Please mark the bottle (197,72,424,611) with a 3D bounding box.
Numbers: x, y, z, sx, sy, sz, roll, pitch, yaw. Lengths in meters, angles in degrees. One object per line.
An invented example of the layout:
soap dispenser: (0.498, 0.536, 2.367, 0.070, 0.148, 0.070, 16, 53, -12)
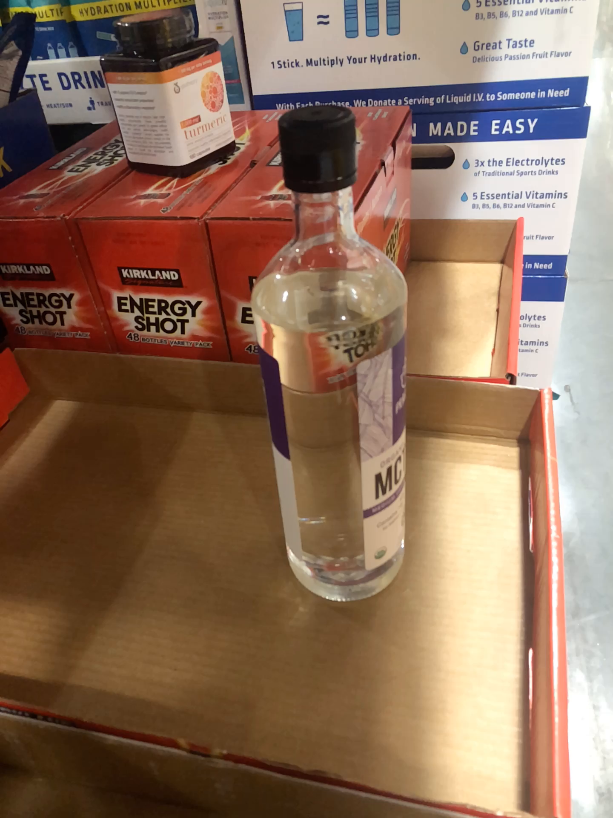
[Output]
bottle: (0.018, -0.016, 0.370, 0.080, 0.290, 0.078, -4, 37, 3)
